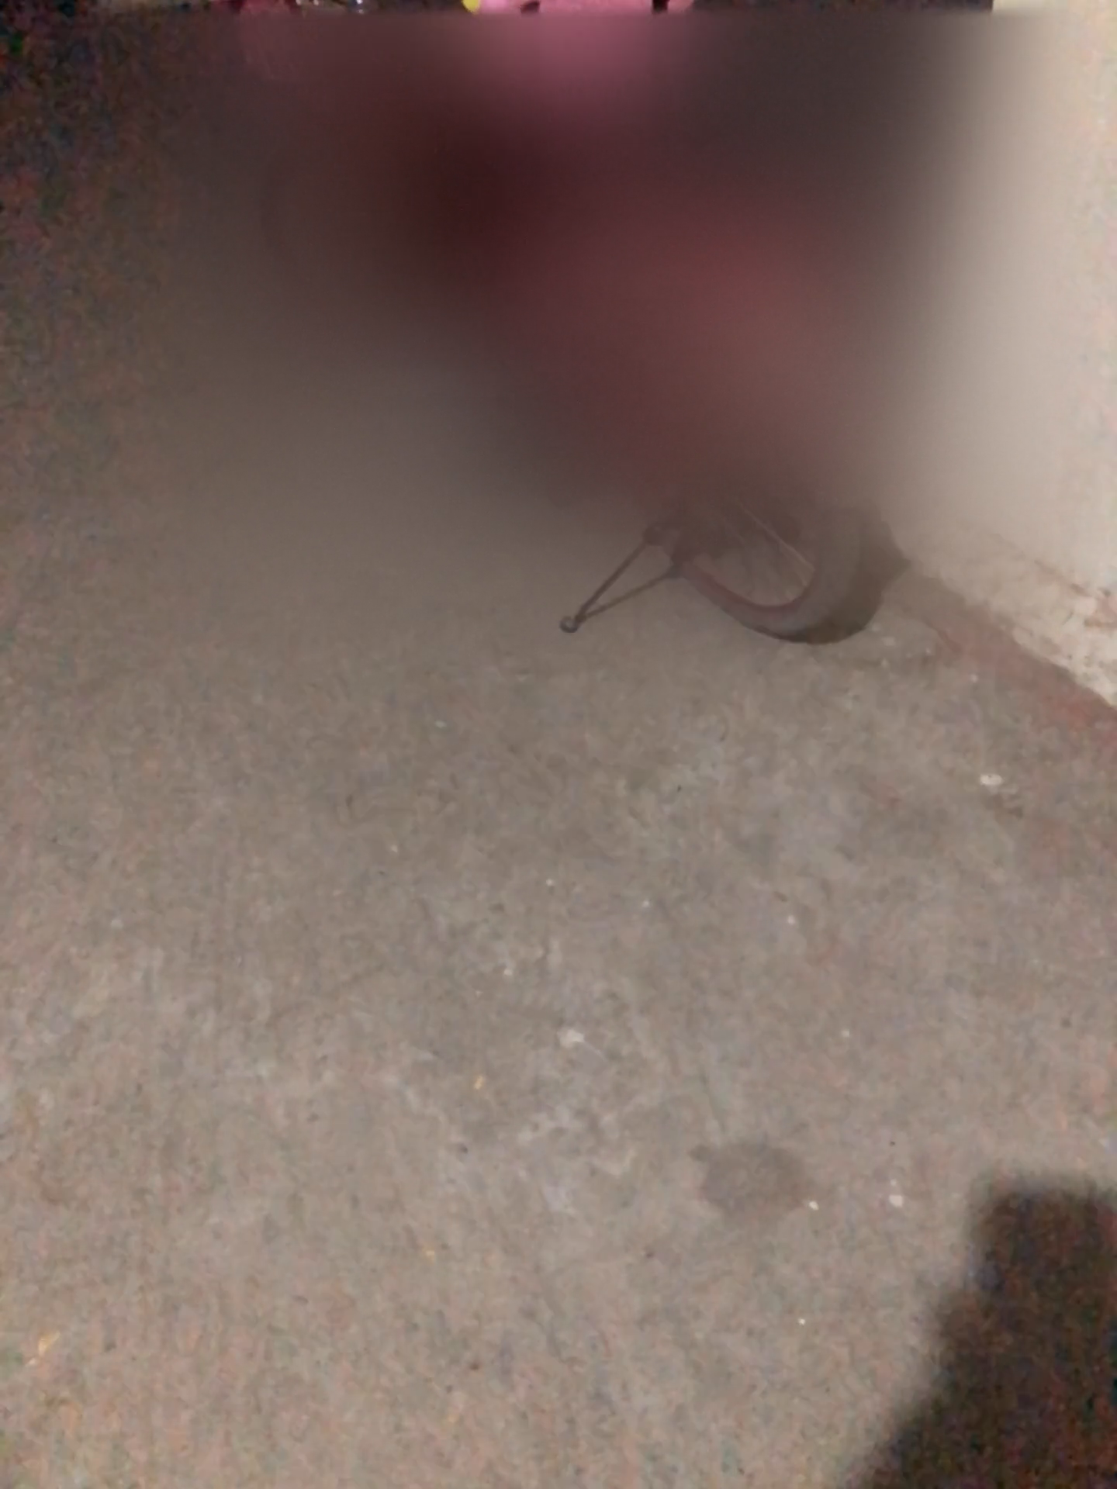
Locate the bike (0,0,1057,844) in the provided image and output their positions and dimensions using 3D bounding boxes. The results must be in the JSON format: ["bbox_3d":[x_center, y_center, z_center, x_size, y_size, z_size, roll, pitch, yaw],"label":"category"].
[{"bbox_3d":[-0.220,-0.669,1.510,0.495,0.909,1.280,-28,50,-27],"label":"bike"}]
